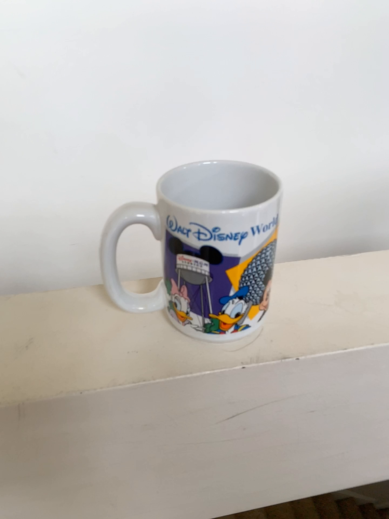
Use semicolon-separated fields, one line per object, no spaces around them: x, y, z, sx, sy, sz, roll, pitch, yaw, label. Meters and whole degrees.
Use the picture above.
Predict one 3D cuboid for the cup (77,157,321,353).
0.001;-0.005;0.291;0.140;0.109;0.080;-3;33;-3;cup
